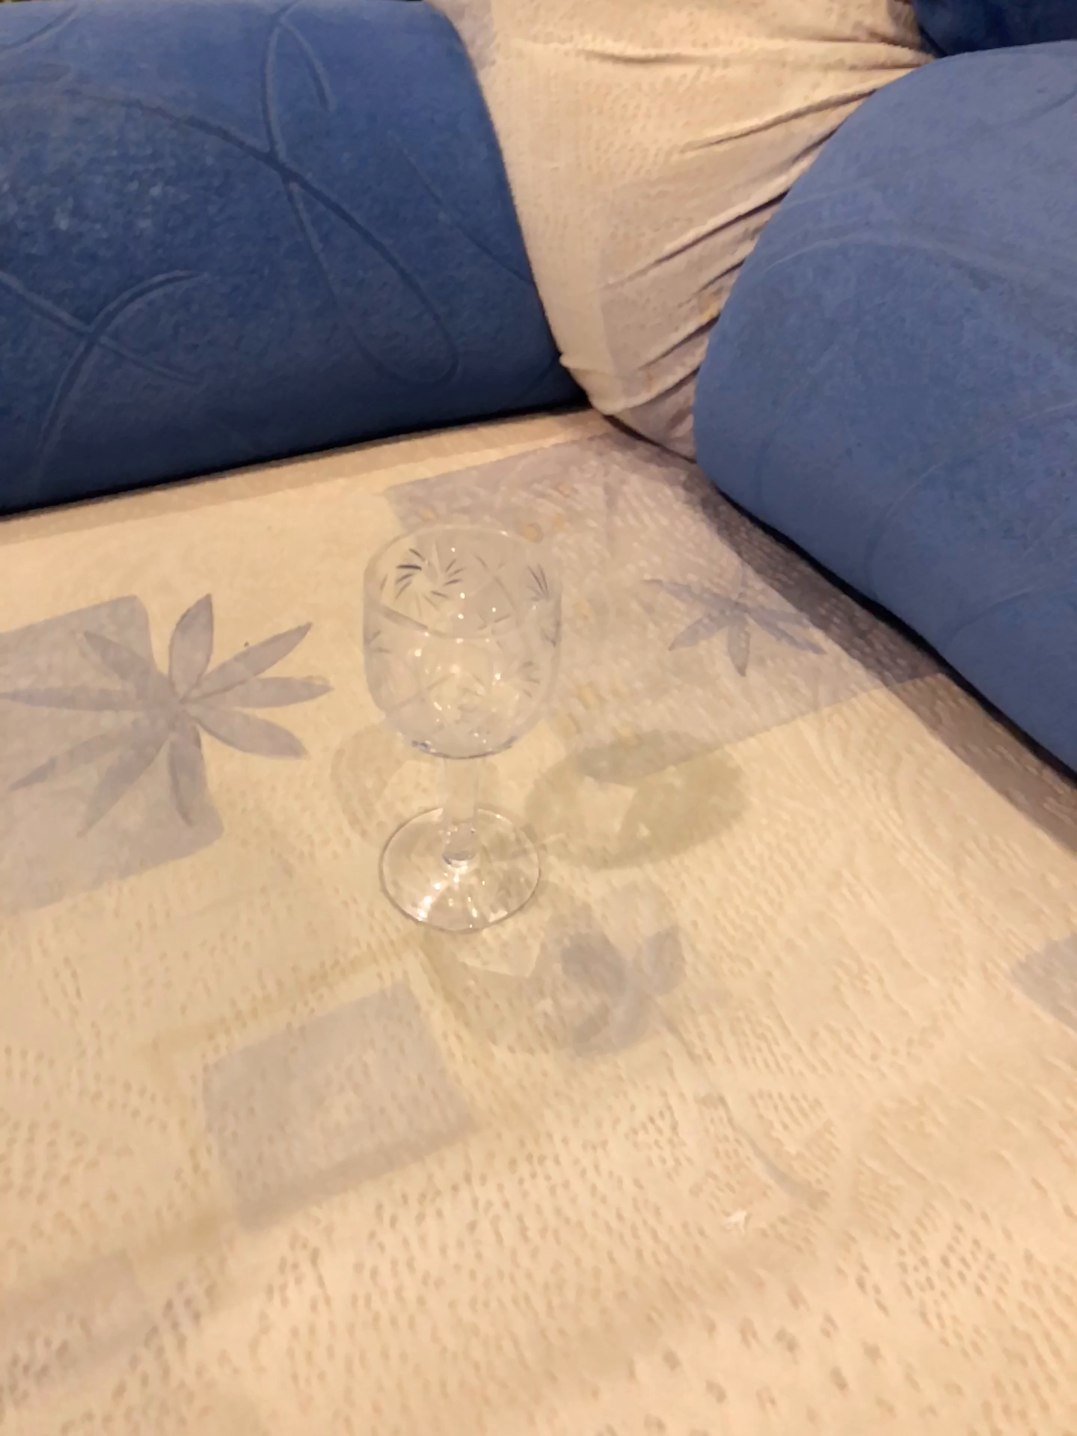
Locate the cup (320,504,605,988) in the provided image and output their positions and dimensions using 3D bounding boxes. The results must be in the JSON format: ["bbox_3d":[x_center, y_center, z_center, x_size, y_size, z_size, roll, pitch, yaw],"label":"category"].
[{"bbox_3d":[-0.018,0.011,0.332,0.060,0.119,0.060,1,41,-1],"label":"cup"}]
